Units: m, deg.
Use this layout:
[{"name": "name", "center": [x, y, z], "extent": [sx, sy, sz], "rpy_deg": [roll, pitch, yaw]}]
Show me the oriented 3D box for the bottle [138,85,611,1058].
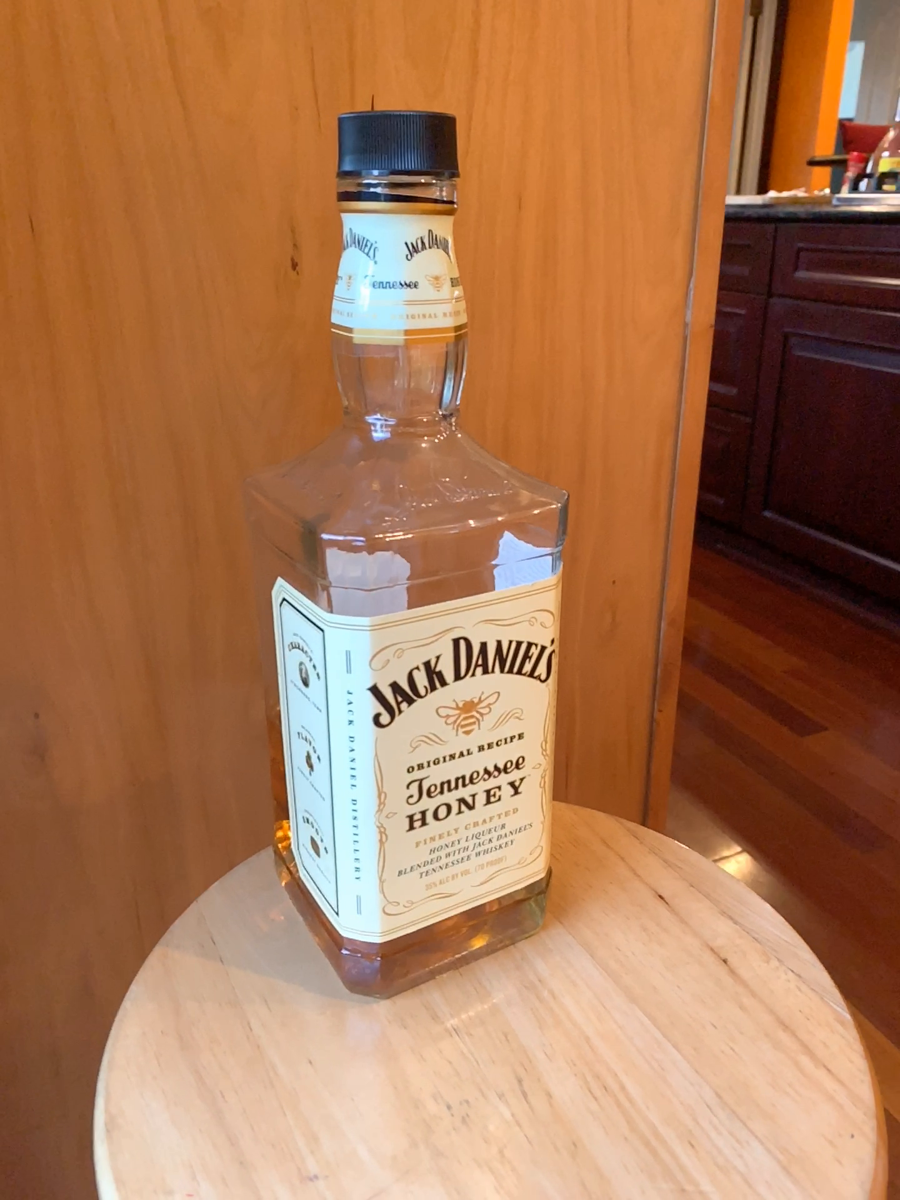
[{"name": "bottle", "center": [-0.026, -0.005, 0.361], "extent": [0.120, 0.328, 0.100], "rpy_deg": [-13, 26, -28]}]
